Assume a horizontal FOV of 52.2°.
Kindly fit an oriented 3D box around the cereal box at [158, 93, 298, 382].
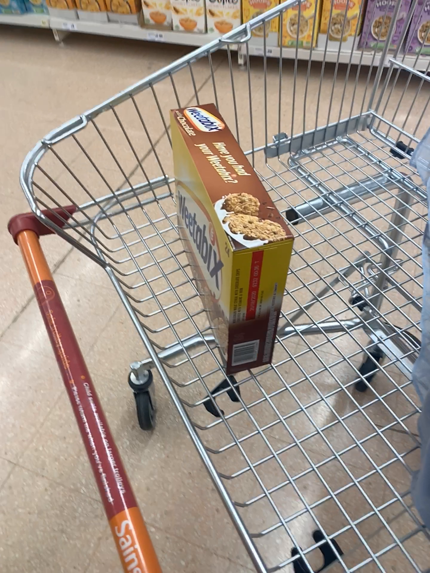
[{"bbox_3d":[0.001,-0.058,0.481,0.060,0.188,0.252,-13,50,-10],"label":"cereal box"}]
